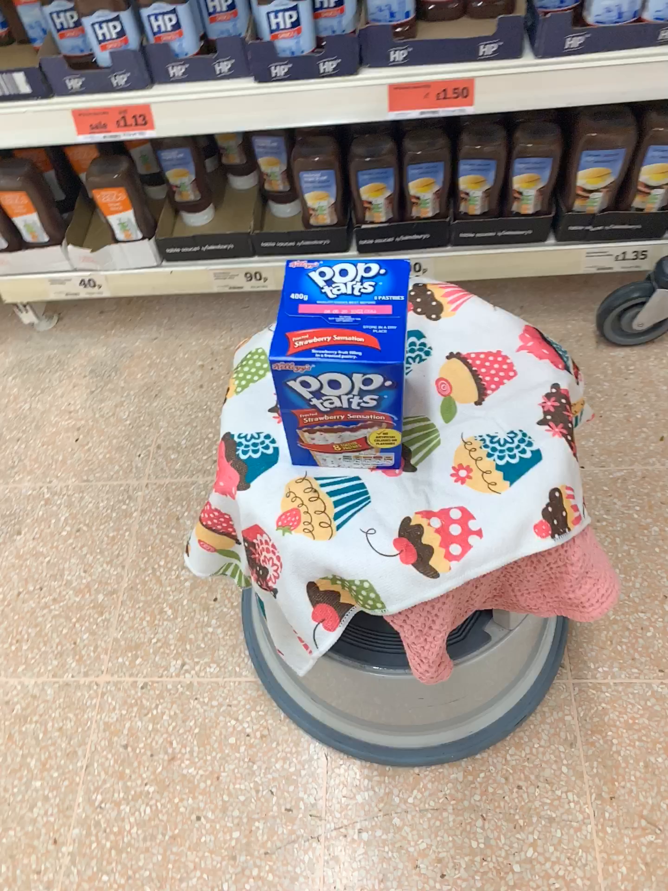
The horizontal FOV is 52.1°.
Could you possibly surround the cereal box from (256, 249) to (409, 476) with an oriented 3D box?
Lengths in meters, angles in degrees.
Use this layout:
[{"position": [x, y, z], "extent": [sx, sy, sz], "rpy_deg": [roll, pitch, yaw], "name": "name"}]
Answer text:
[{"position": [0.008, -0.058, 0.508], "extent": [0.090, 0.139, 0.101], "rpy_deg": [2, 57, 8], "name": "cereal box"}]
